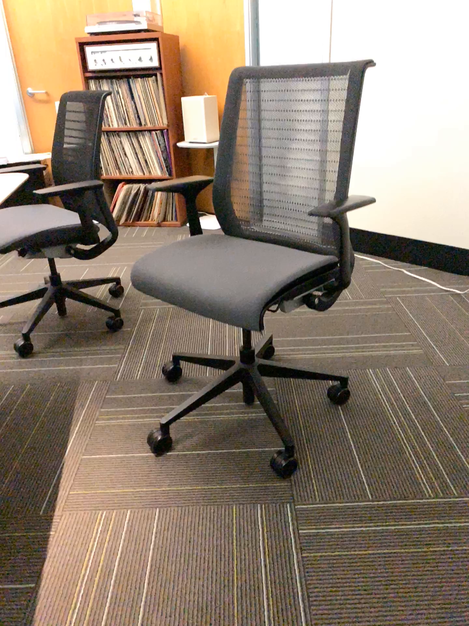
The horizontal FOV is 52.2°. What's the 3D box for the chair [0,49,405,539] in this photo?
[{"bbox_3d":[-0.061,-0.163,1.498,0.793,1.113,0.802,16,32,33],"label":"chair"}]
